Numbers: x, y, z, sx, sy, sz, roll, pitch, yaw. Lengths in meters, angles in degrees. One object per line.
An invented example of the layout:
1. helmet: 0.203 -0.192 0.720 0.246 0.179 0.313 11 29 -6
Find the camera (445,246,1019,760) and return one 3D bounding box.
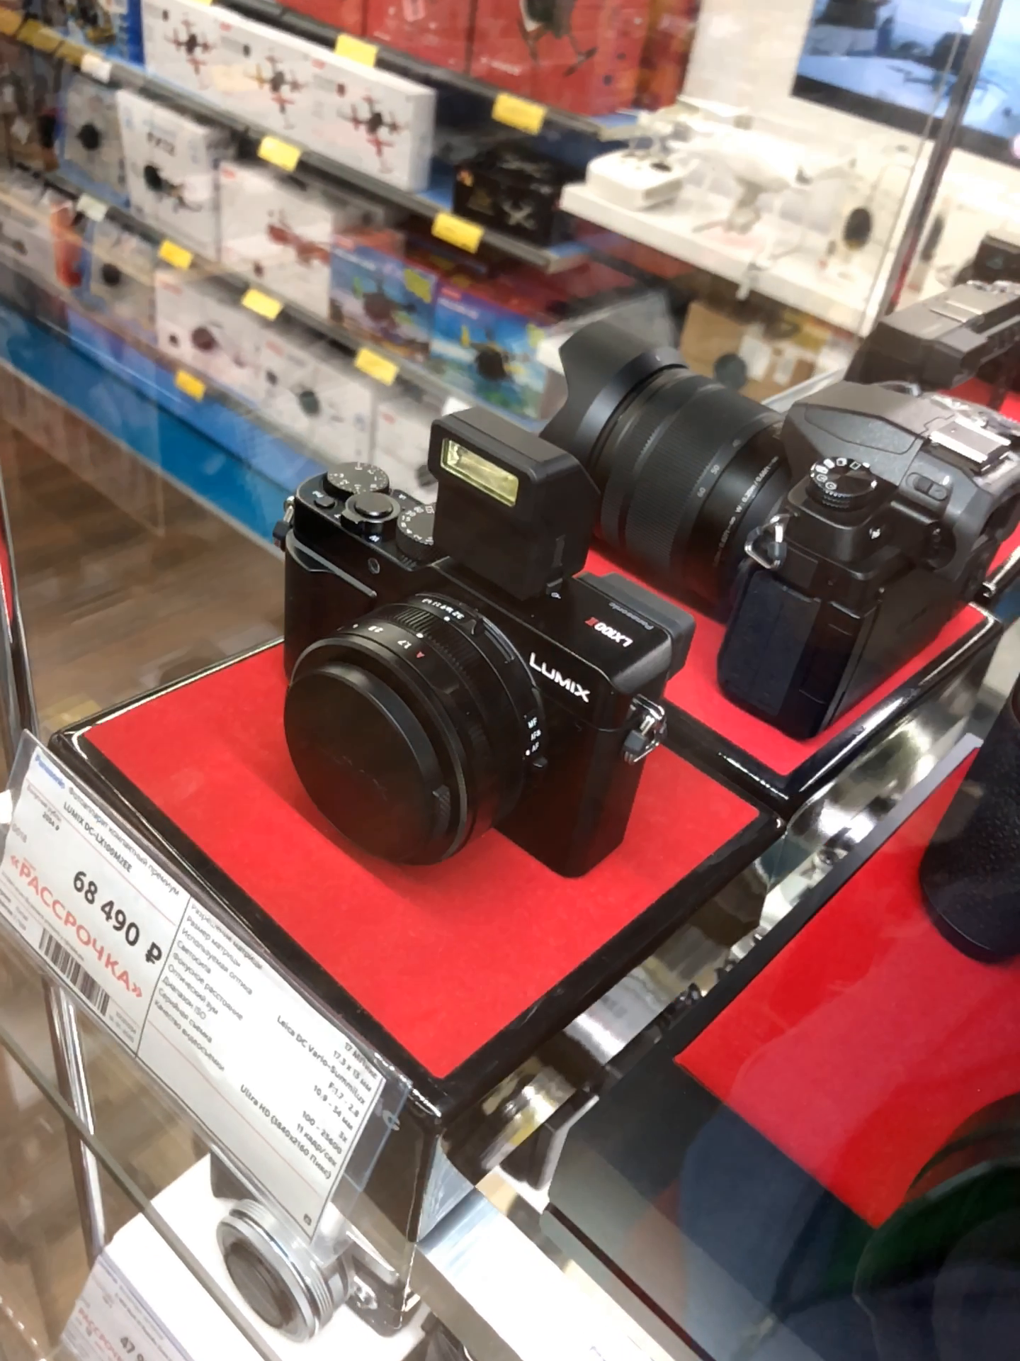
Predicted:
1. camera: 0.070 -0.066 0.358 0.149 0.081 0.099 36 44 30

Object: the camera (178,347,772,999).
1. camera: -0.016 -0.008 0.280 0.117 0.098 0.069 34 43 28

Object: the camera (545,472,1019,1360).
1. camera: 0.154 0.079 0.203 0.175 0.114 0.227 34 43 28
